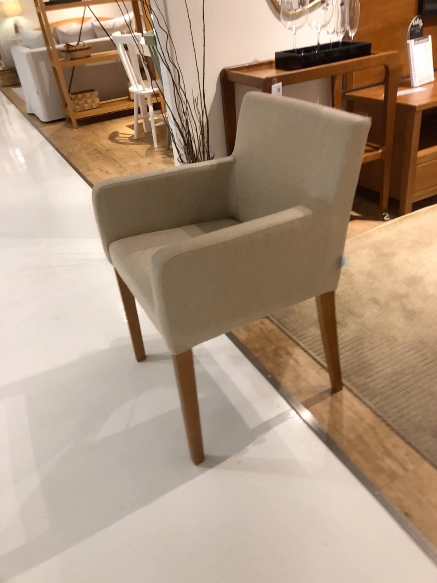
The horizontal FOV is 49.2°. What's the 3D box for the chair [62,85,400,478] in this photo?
[{"bbox_3d":[0.024,-0.080,1.376,0.621,0.794,0.603,-20,35,-19],"label":"chair"}]
